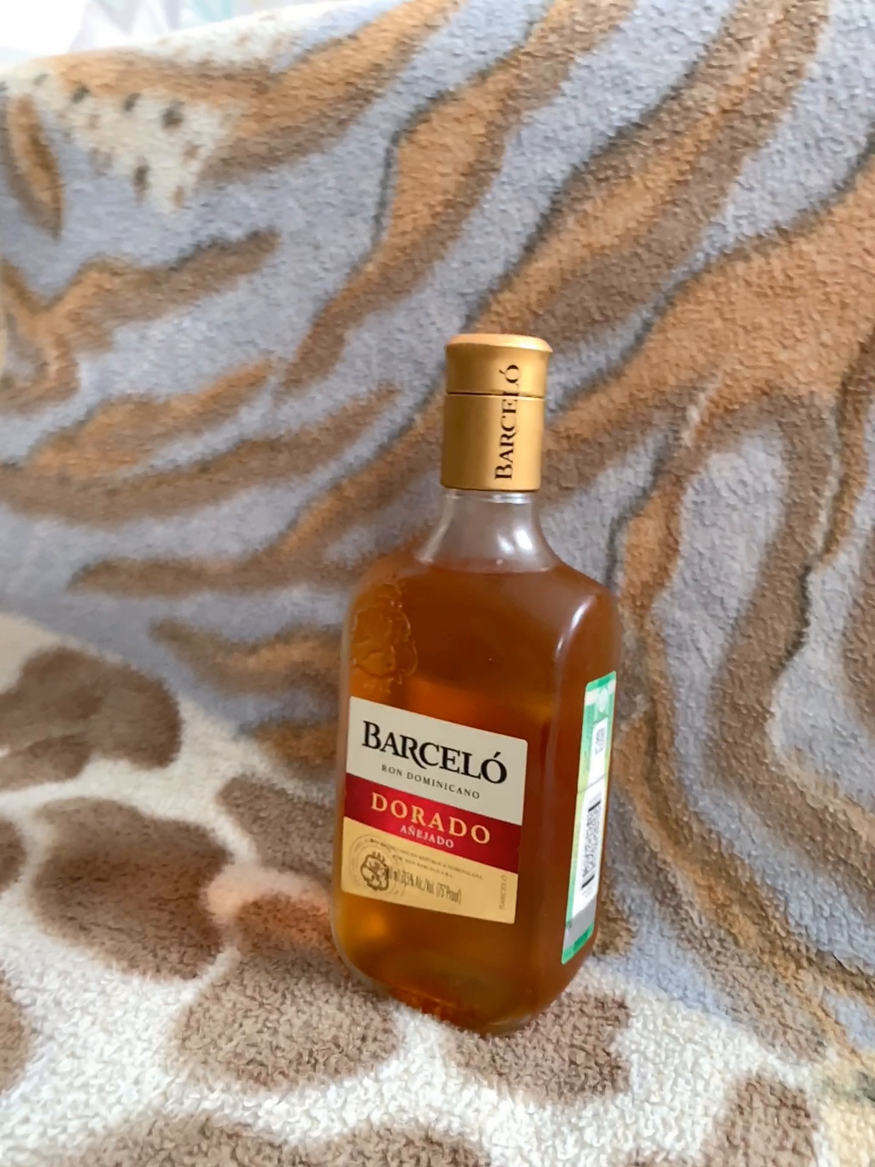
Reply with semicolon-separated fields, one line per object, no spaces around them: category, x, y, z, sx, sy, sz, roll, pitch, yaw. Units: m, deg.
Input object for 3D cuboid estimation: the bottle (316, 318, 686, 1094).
bottle;0.019;0.031;0.300;0.090;0.219;0.070;7;11;28
